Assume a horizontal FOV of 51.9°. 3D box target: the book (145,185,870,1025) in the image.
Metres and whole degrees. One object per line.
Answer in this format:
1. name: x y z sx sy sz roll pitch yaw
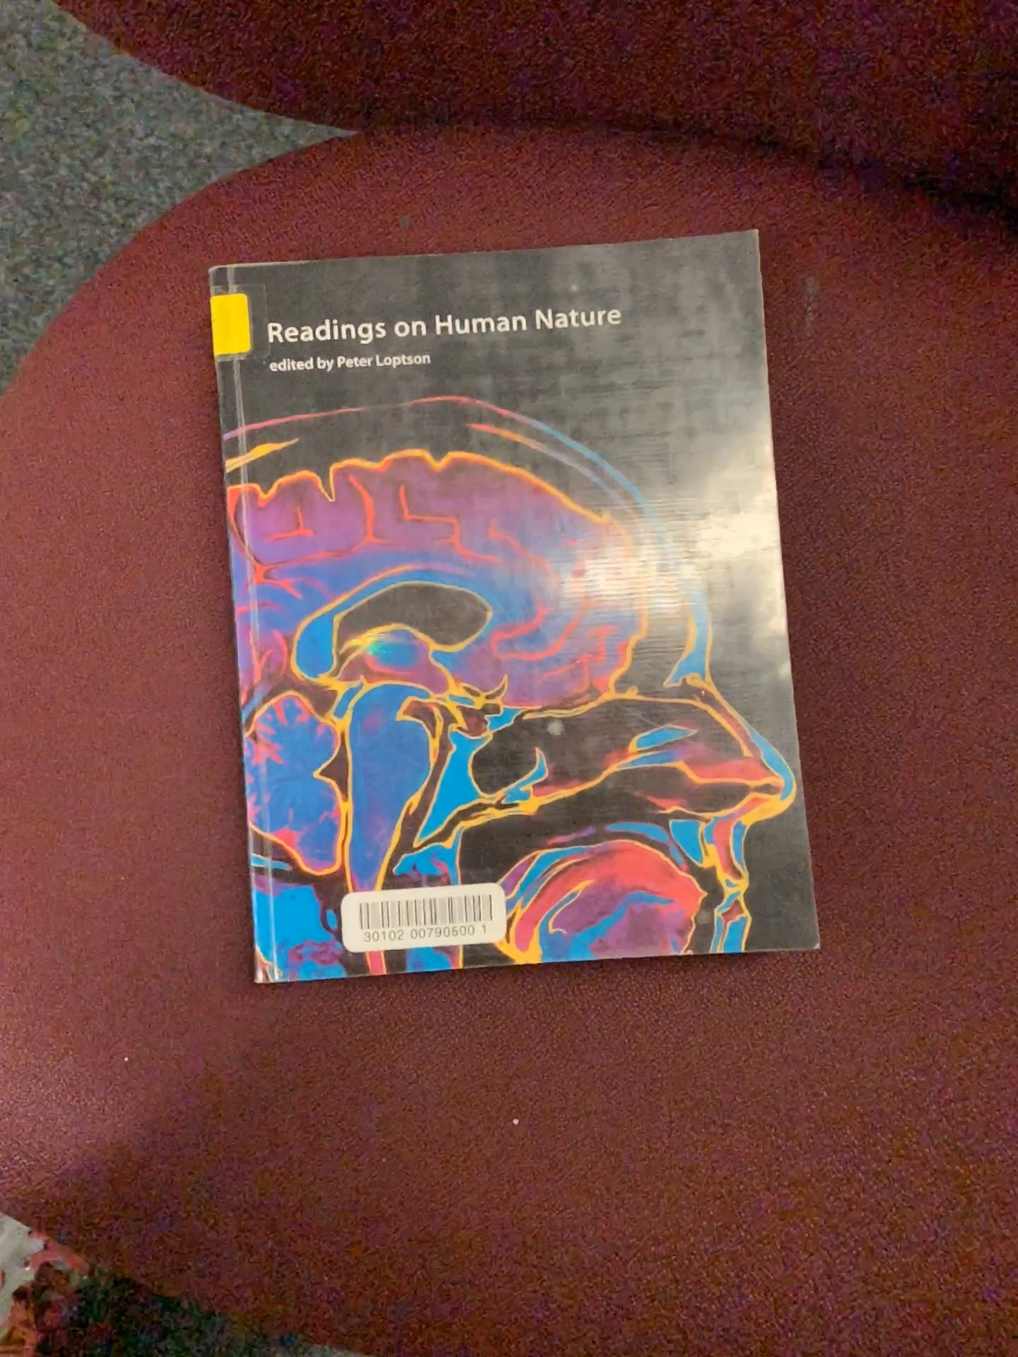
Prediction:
1. book: -0.005 -0.025 0.330 0.200 0.040 0.240 -4 84 0
